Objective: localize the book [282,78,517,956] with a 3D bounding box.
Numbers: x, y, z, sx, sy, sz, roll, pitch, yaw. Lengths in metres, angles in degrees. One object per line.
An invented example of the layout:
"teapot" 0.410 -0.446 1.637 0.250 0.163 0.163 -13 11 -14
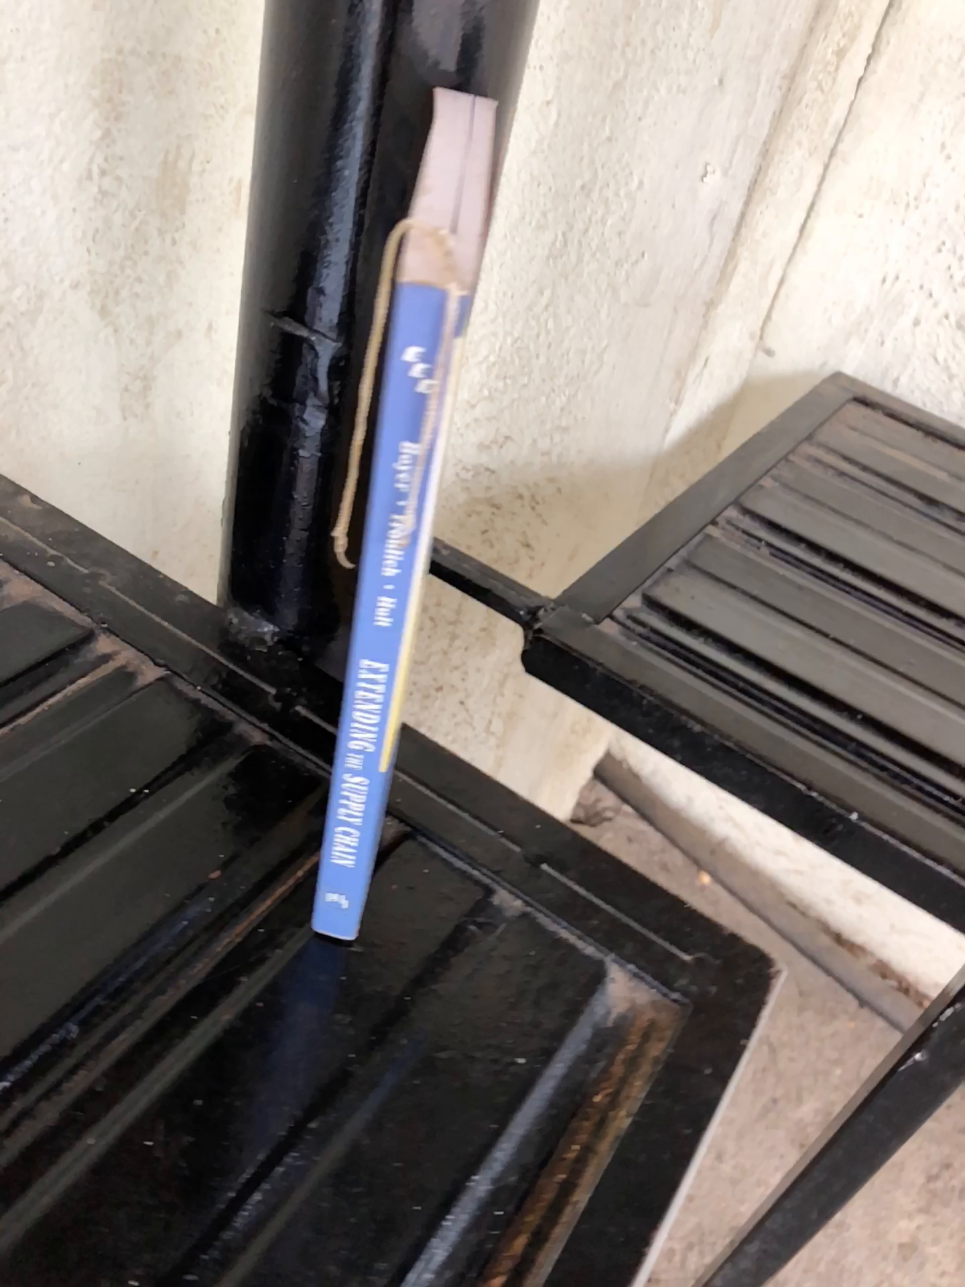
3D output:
"book" -0.027 -0.035 0.339 0.030 0.229 0.151 9 38 -4
